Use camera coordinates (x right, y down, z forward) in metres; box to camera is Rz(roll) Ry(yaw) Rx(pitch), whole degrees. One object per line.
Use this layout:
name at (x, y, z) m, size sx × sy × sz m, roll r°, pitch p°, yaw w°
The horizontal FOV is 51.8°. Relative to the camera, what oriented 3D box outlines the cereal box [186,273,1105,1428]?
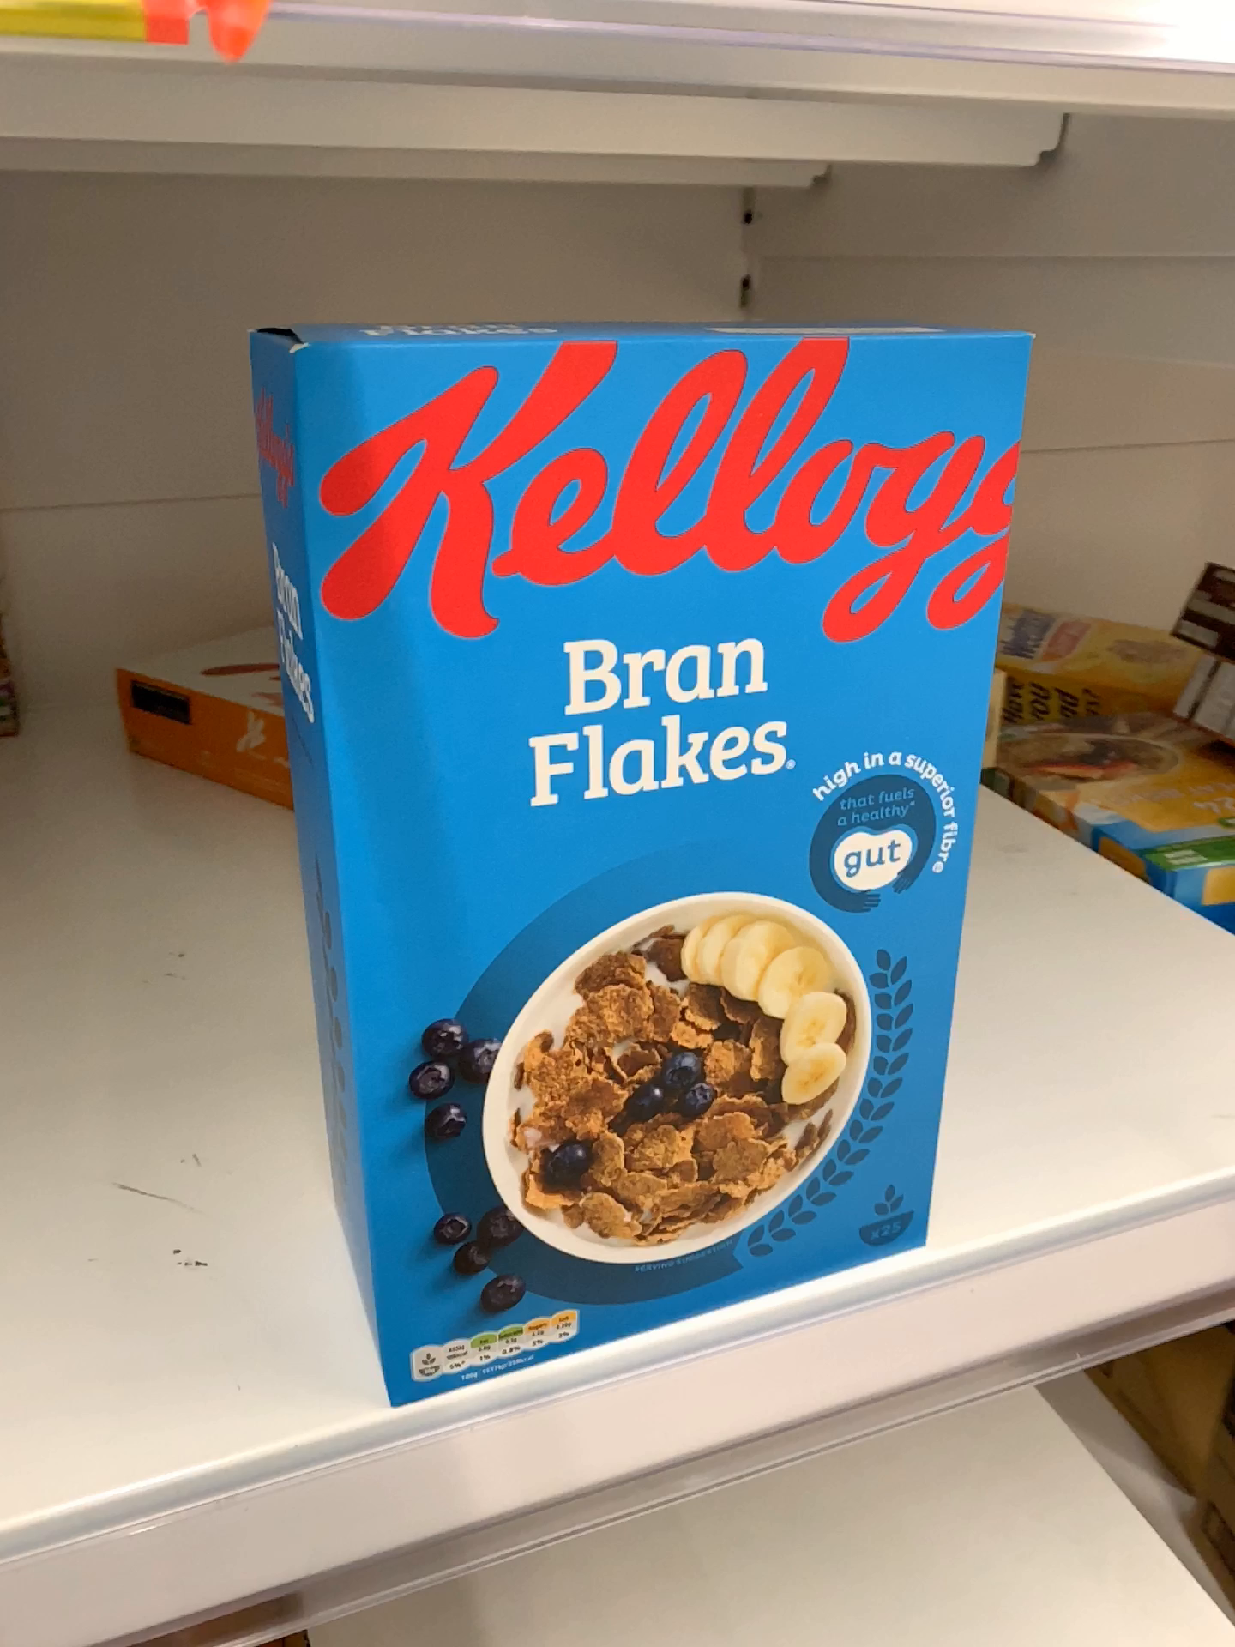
cereal box at (0.006, 0.001, 0.374) m, size 0.210 × 0.298 × 0.091 m, roll -9°, pitch 25°, yaw -20°
